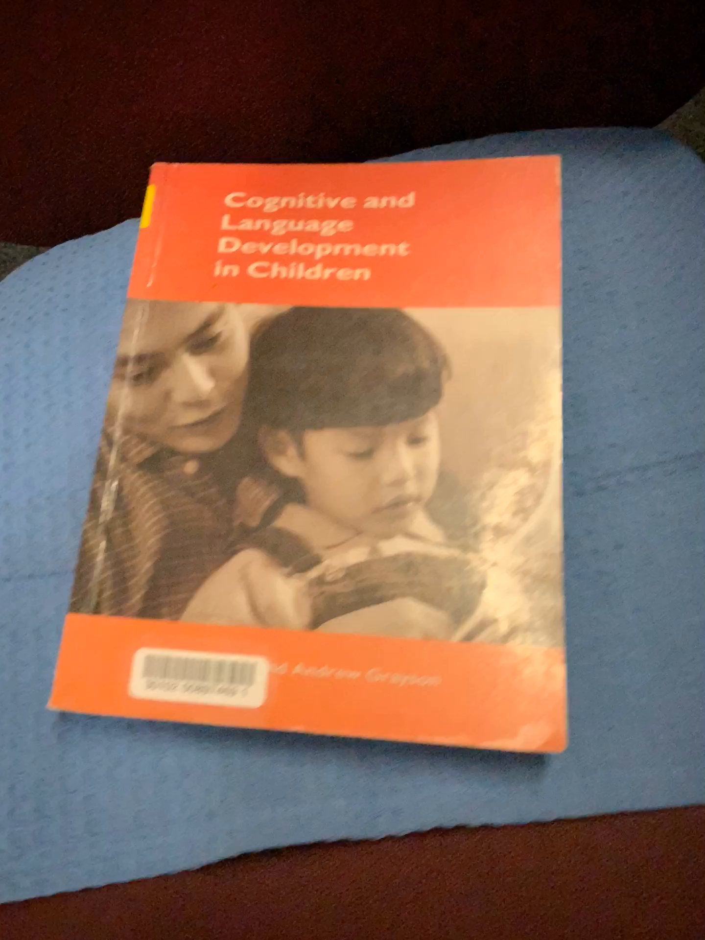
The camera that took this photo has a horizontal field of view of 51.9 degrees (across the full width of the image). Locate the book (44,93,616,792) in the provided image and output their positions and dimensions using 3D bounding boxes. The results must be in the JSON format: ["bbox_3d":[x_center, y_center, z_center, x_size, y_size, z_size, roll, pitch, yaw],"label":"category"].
[{"bbox_3d":[-0.002,-0.021,0.313,0.200,0.060,0.271,1,74,11],"label":"book"}]
